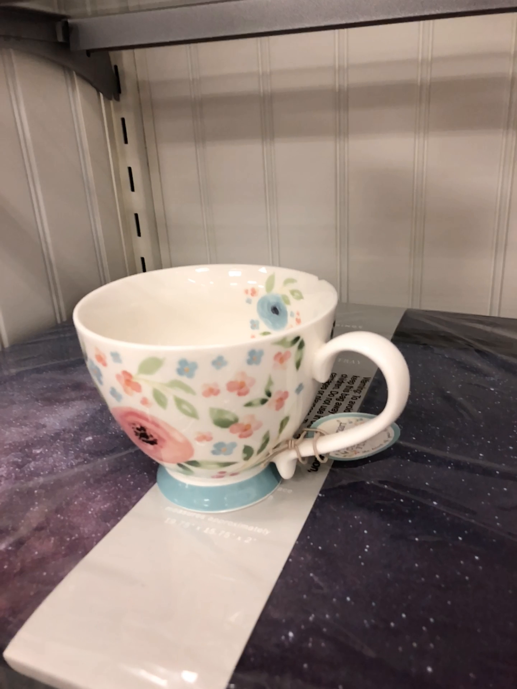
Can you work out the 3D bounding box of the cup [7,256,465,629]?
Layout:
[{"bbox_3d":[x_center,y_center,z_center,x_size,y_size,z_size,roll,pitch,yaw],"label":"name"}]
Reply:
[{"bbox_3d":[-0.006,0.020,0.246,0.150,0.079,0.111,11,27,32],"label":"cup"}]
